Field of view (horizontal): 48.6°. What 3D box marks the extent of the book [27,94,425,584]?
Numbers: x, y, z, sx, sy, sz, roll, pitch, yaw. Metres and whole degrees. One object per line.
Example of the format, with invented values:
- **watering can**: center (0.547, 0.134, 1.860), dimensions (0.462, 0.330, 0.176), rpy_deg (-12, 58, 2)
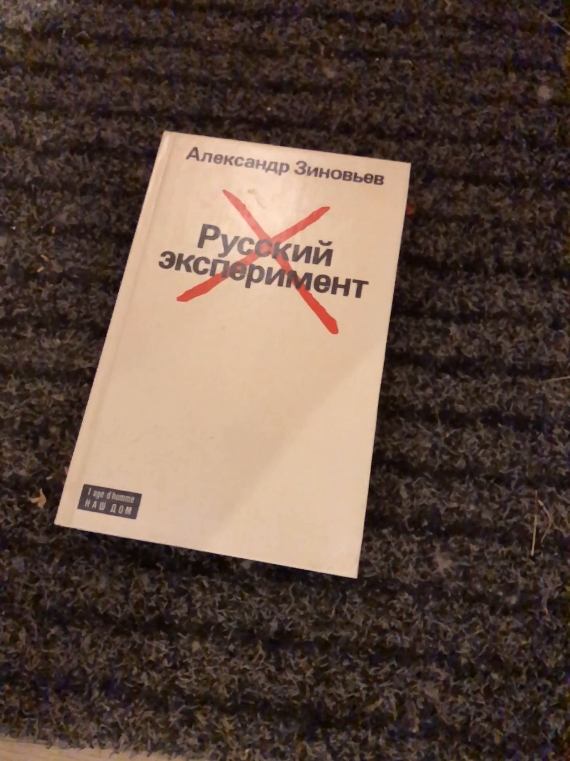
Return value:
- **book**: center (-0.015, -0.024, 0.268), dimensions (0.120, 0.040, 0.190), rpy_deg (9, 72, 5)
